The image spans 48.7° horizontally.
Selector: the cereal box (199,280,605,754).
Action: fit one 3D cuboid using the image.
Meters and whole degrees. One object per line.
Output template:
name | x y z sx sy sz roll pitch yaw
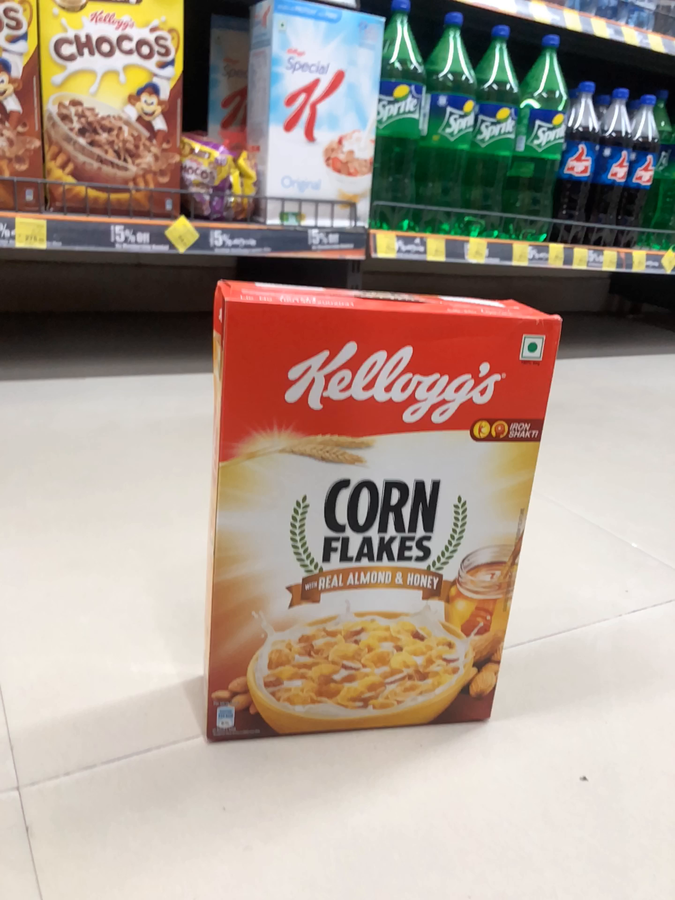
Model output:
cereal box | 0.023 0.041 0.427 0.190 0.249 0.070 1 20 -13
